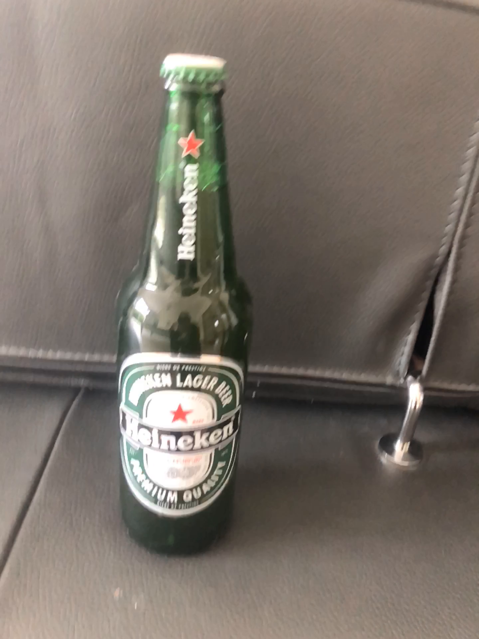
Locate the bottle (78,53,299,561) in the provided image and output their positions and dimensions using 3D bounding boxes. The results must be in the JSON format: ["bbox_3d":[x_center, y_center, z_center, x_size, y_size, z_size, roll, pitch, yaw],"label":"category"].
[{"bbox_3d":[-0.032,0.009,0.292,0.080,0.268,0.081,5,29,-3],"label":"bottle"}]
